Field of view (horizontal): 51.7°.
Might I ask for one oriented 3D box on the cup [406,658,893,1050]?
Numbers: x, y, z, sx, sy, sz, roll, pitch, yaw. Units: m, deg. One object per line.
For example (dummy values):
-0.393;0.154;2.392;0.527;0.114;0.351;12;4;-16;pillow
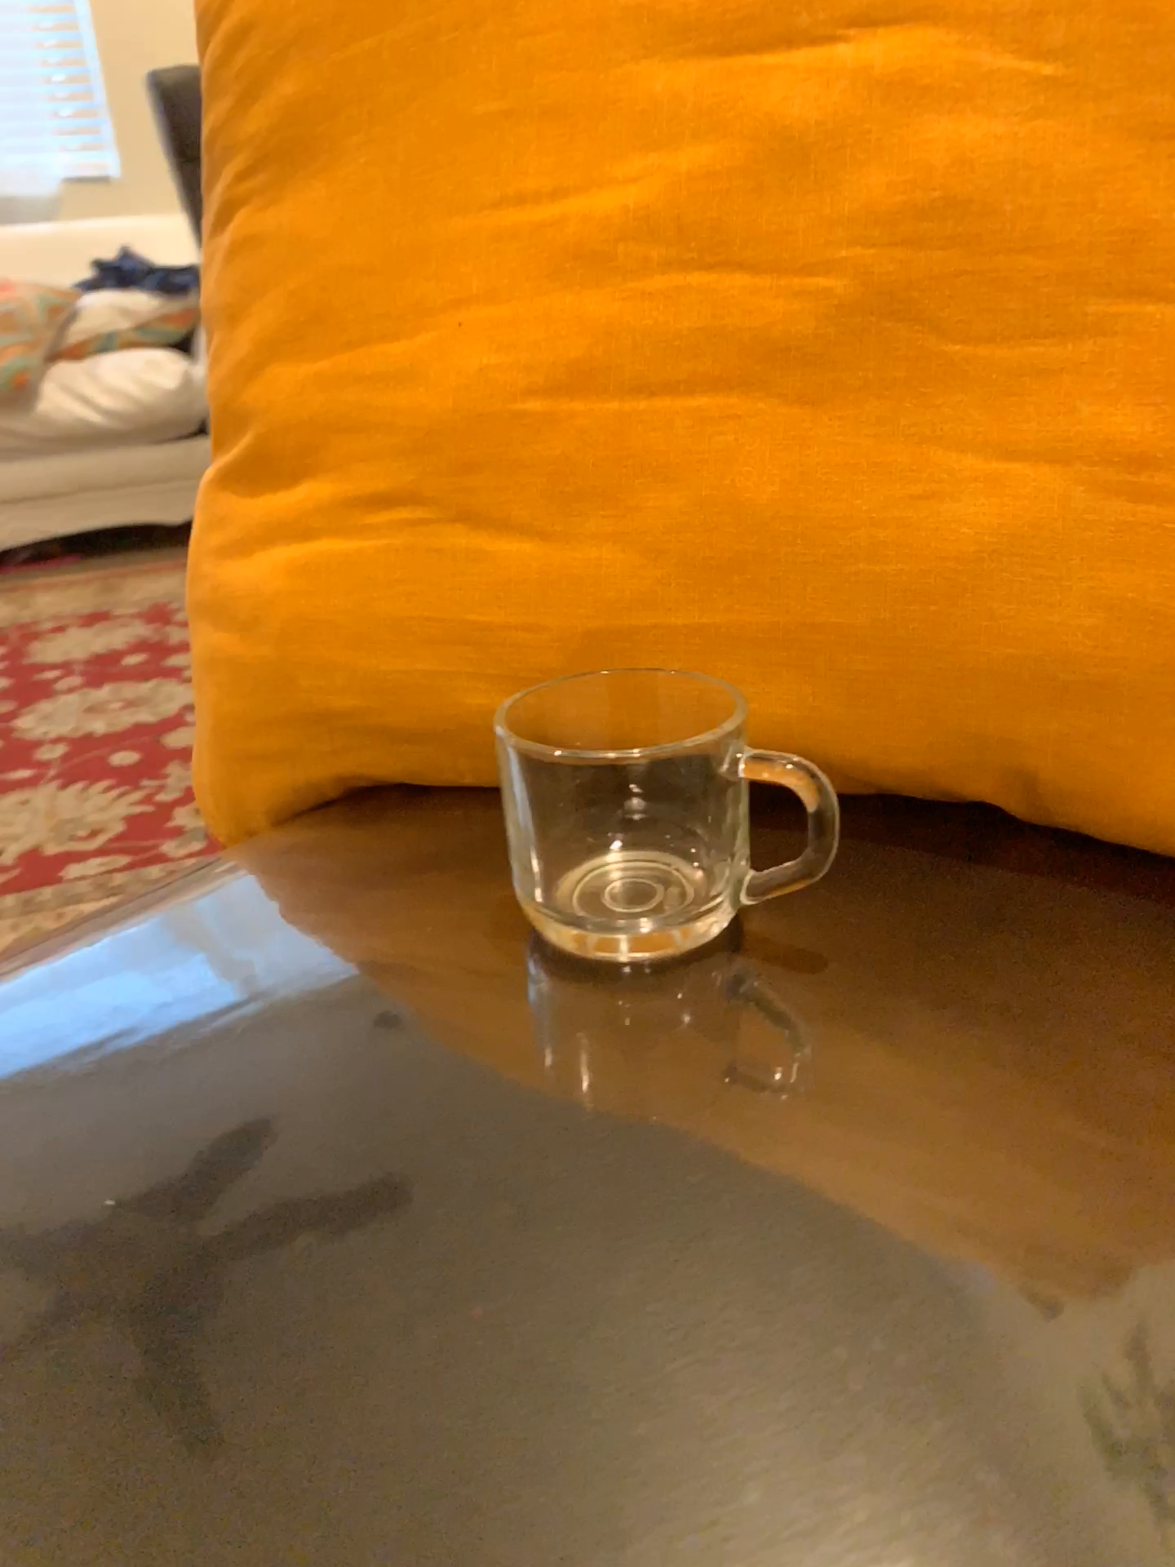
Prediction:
0.018;0.012;0.313;0.100;0.060;0.070;9;27;29;cup
